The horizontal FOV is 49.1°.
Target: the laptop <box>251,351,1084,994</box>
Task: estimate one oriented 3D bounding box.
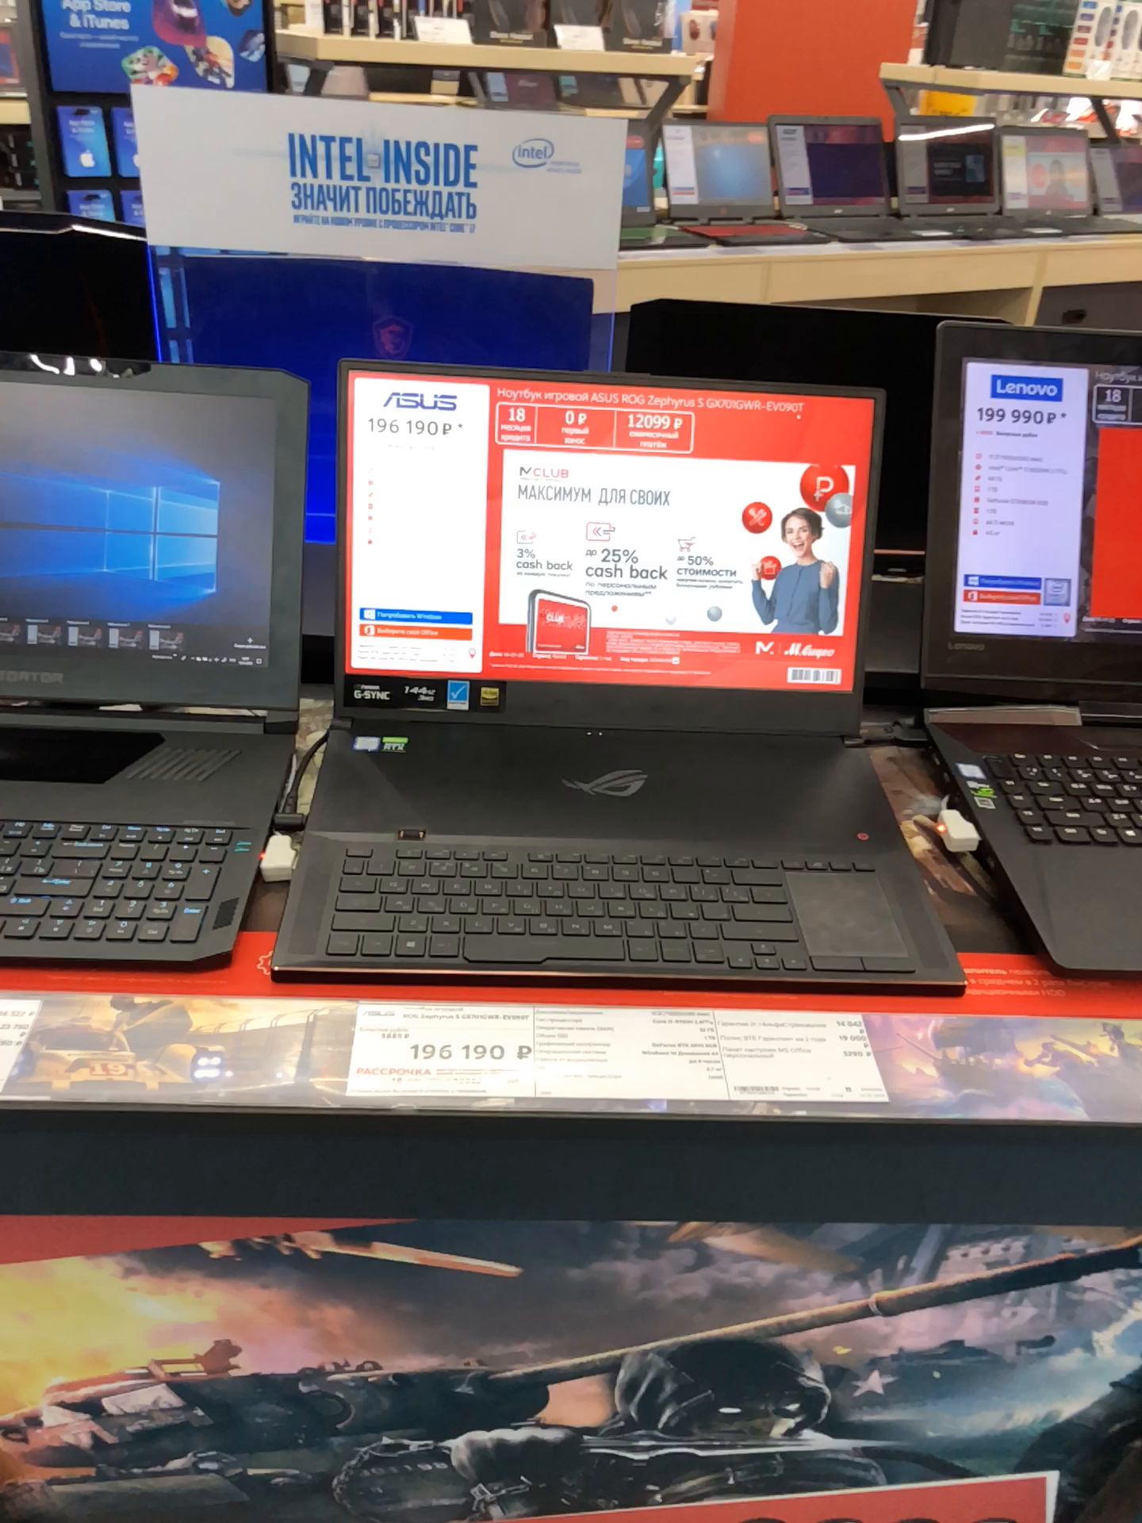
[{"bbox_3d":[0.033,-0.079,0.800,0.390,0.240,0.379,2,31,-5],"label":"laptop"}]

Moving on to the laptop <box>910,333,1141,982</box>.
[{"bbox_3d":[0.488,-0.098,0.824,0.374,0.248,0.414,1,32,-1],"label":"laptop"}]
